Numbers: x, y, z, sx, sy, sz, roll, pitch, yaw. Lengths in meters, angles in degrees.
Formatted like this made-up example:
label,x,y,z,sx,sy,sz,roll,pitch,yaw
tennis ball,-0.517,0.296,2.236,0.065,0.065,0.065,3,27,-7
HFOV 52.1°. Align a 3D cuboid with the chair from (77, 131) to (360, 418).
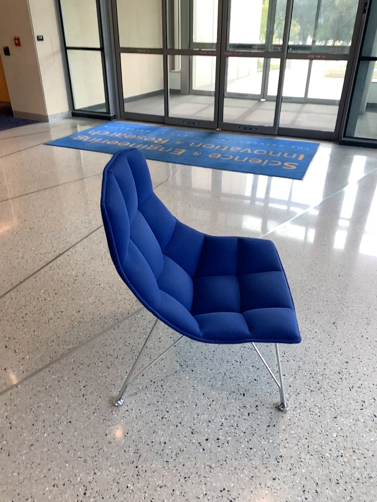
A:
label,x,y,z,sx,sy,sz,roll,pitch,yaw
chair,0.098,0.056,1.714,0.828,0.963,0.805,2,29,2
